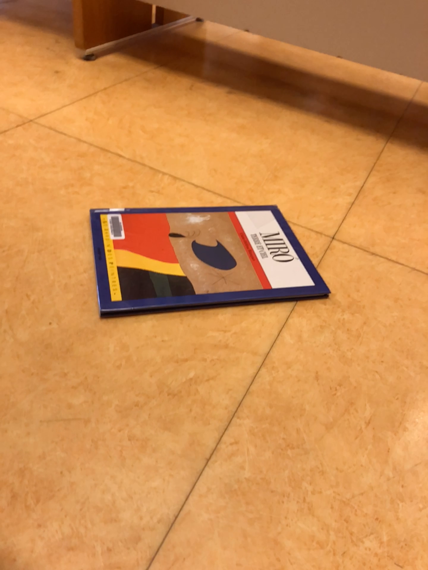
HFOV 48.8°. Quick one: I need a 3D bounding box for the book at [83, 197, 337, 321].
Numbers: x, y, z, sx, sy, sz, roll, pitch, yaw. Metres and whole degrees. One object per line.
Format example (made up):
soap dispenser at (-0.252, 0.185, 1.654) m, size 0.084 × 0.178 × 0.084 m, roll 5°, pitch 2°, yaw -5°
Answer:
book at (-0.013, -0.041, 0.522) m, size 0.246 × 0.020 × 0.178 m, roll -3°, pitch 43°, yaw -17°
